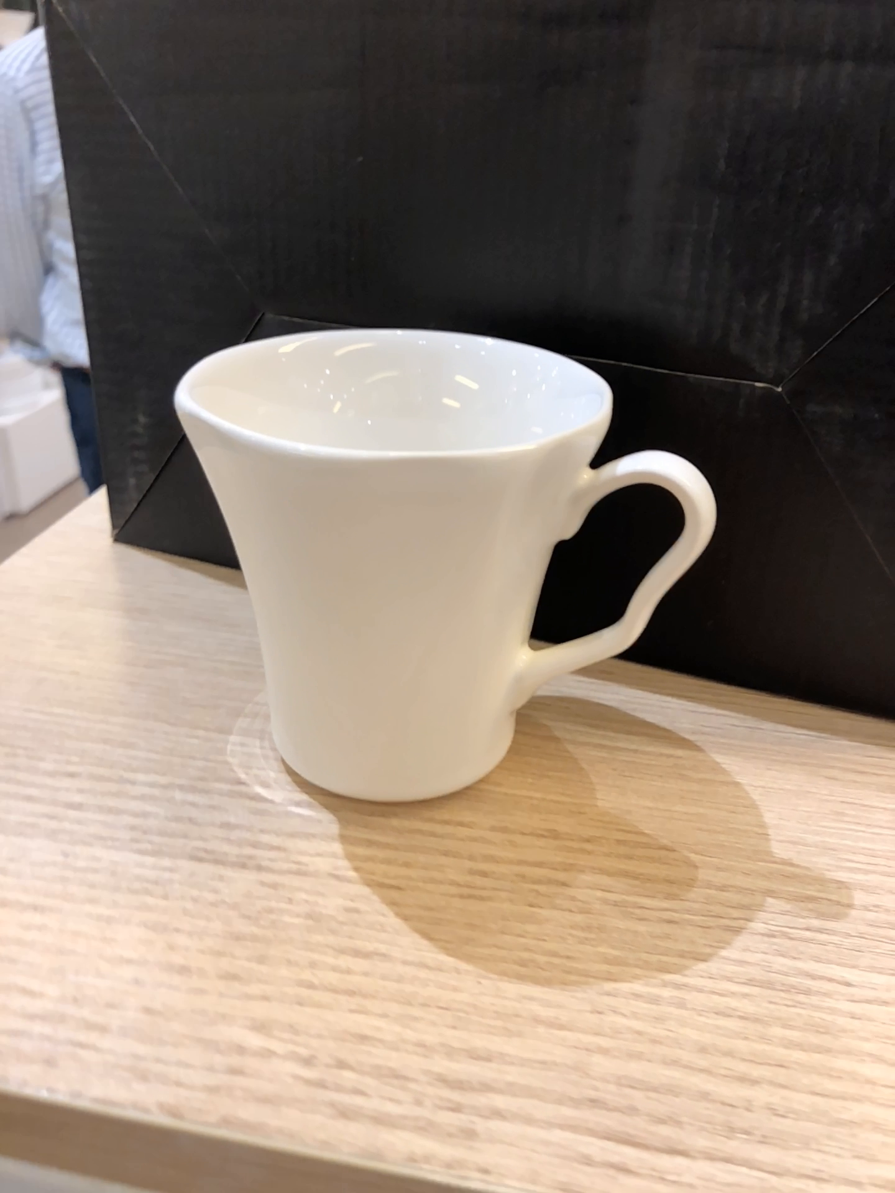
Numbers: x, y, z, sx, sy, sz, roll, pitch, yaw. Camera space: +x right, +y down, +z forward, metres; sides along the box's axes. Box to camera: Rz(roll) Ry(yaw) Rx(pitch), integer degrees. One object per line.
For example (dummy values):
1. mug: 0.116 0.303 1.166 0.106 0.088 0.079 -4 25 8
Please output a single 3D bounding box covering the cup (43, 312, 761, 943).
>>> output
1. cup: -0.003 -0.003 0.202 0.110 0.079 0.081 11 29 16
